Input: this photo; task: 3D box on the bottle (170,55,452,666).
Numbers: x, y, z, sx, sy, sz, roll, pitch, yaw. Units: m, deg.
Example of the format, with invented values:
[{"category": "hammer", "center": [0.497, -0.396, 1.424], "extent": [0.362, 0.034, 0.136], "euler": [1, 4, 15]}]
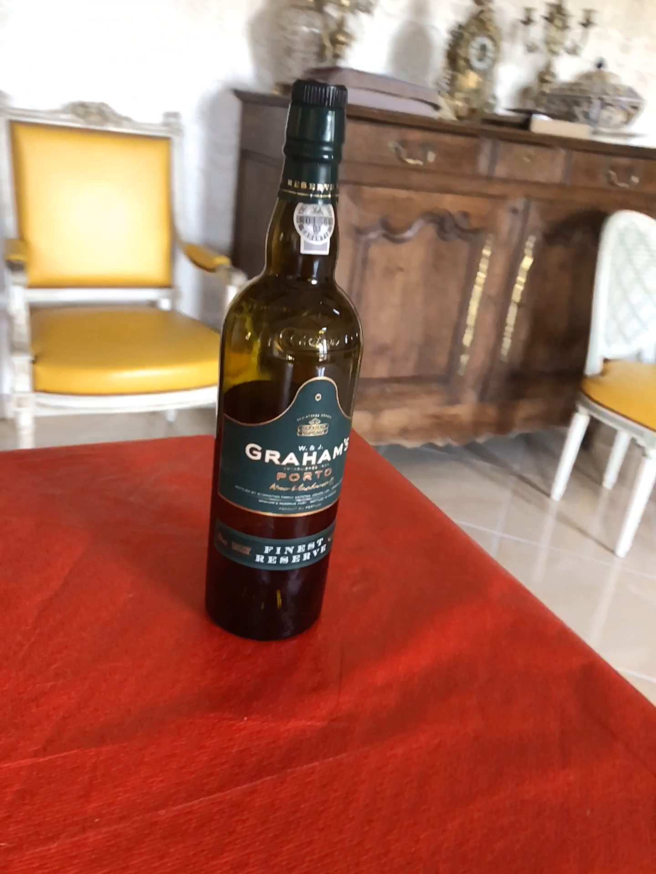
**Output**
[{"category": "bottle", "center": [-0.024, -0.033, 0.392], "extent": [0.090, 0.298, 0.090], "euler": [7, 24, -3]}]
